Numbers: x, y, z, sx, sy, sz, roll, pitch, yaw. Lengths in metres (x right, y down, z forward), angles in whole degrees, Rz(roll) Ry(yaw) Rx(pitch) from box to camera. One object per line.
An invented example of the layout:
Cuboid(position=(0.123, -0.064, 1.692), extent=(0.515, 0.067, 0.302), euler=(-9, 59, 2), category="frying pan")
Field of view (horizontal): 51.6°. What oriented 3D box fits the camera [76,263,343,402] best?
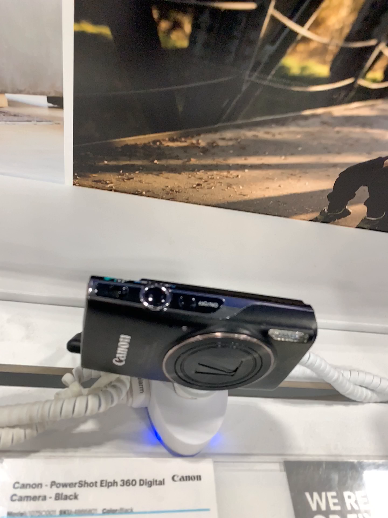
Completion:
Cuboid(position=(0.003, 0.037, 0.185), extent=(0.106, 0.055, 0.027), euler=(7, 44, -13), category="camera")
